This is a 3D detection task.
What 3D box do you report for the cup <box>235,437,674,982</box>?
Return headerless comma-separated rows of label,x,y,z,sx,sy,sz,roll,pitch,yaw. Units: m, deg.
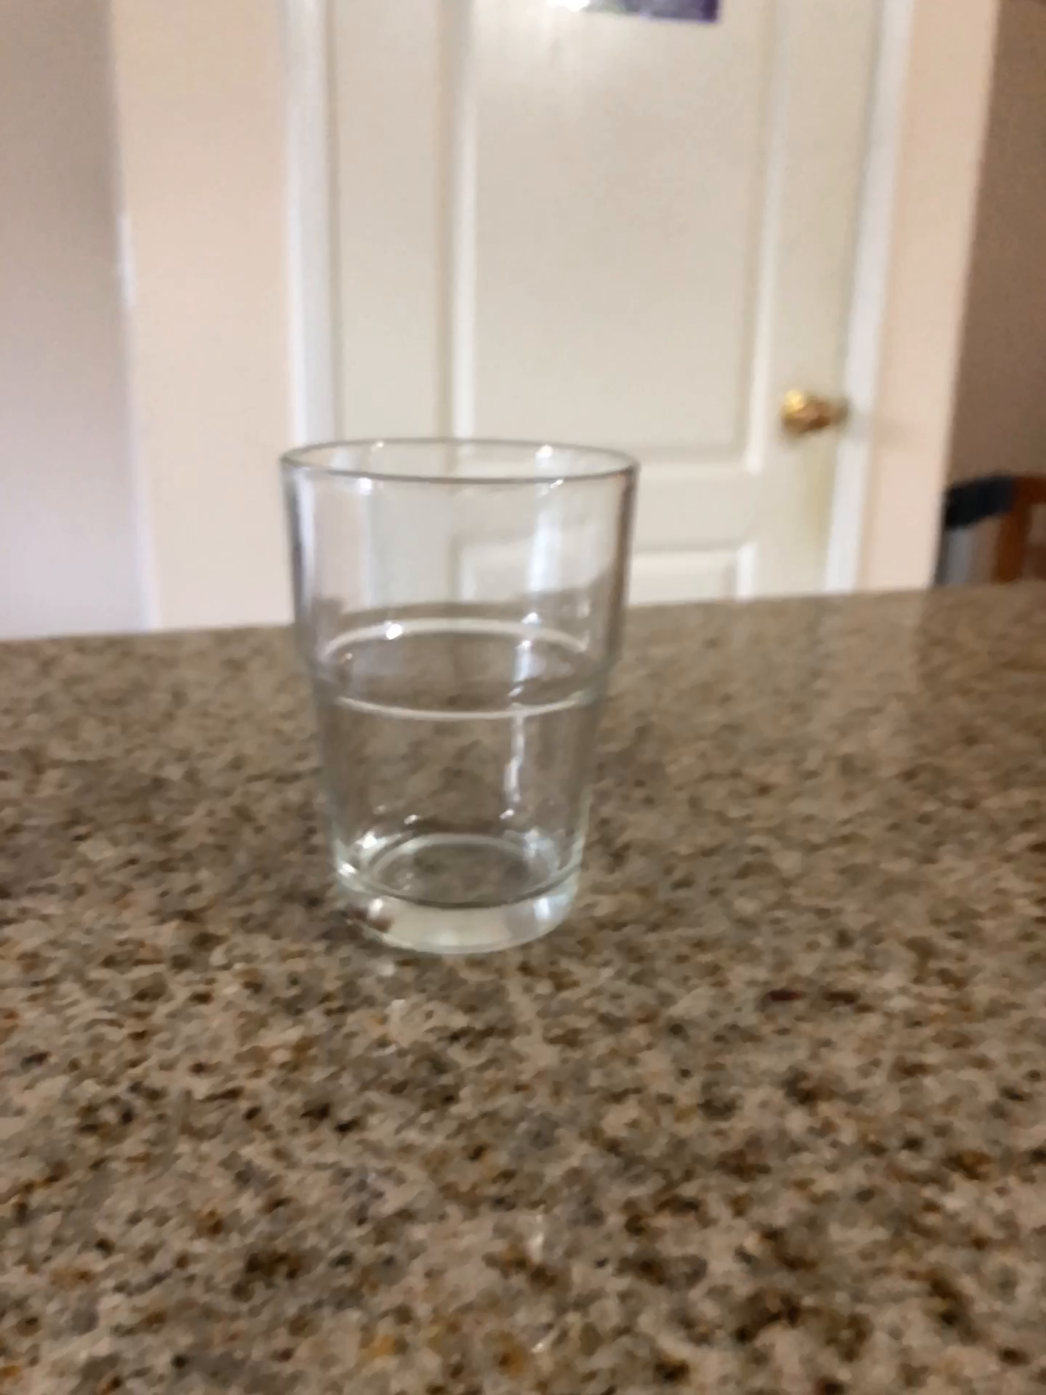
cup,-0.013,-0.004,0.269,0.070,0.100,0.070,1,17,0
